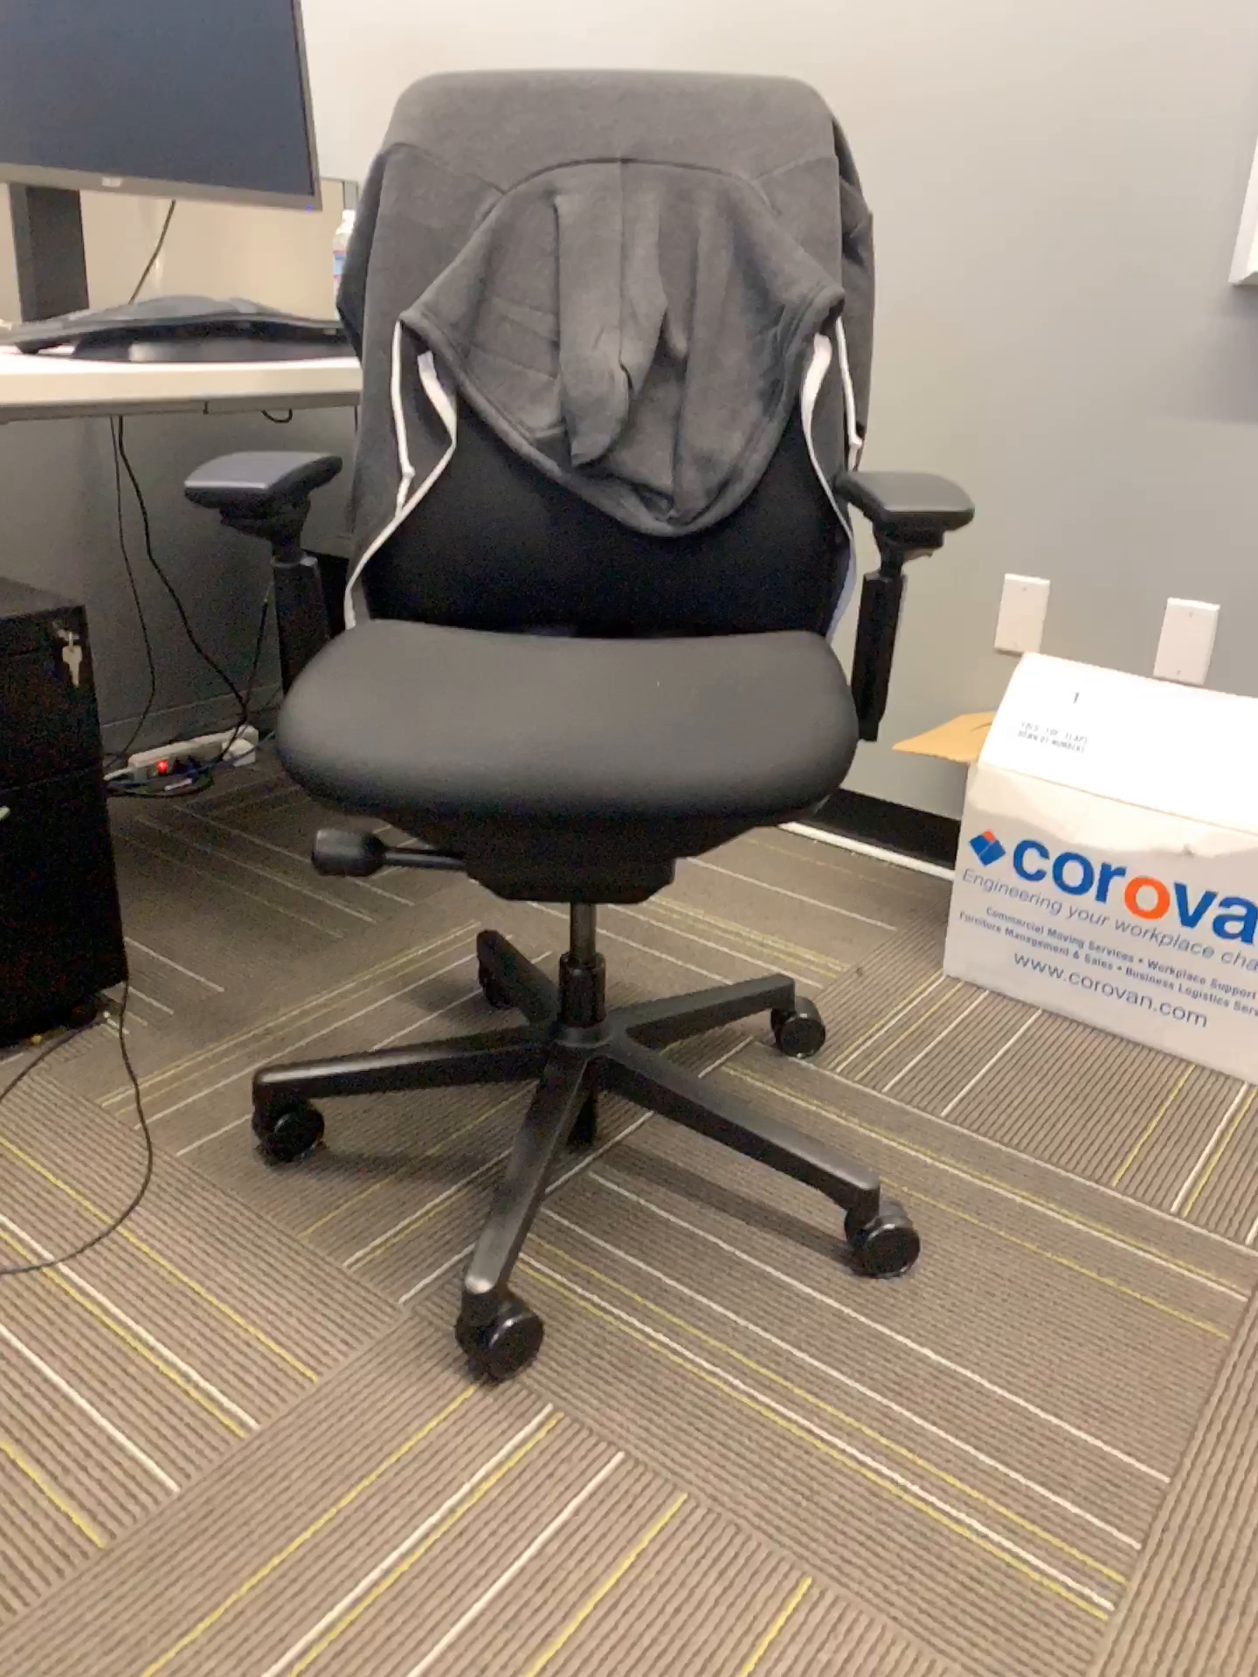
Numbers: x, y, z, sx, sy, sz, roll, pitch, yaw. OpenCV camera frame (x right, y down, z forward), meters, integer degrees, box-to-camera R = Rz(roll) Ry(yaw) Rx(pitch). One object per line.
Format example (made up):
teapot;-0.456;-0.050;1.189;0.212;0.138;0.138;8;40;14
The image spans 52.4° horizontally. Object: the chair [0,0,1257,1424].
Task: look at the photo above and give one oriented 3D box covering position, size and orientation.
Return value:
chair;-0.048;-0.217;1.254;0.750;1.074;0.885;4;23;2
